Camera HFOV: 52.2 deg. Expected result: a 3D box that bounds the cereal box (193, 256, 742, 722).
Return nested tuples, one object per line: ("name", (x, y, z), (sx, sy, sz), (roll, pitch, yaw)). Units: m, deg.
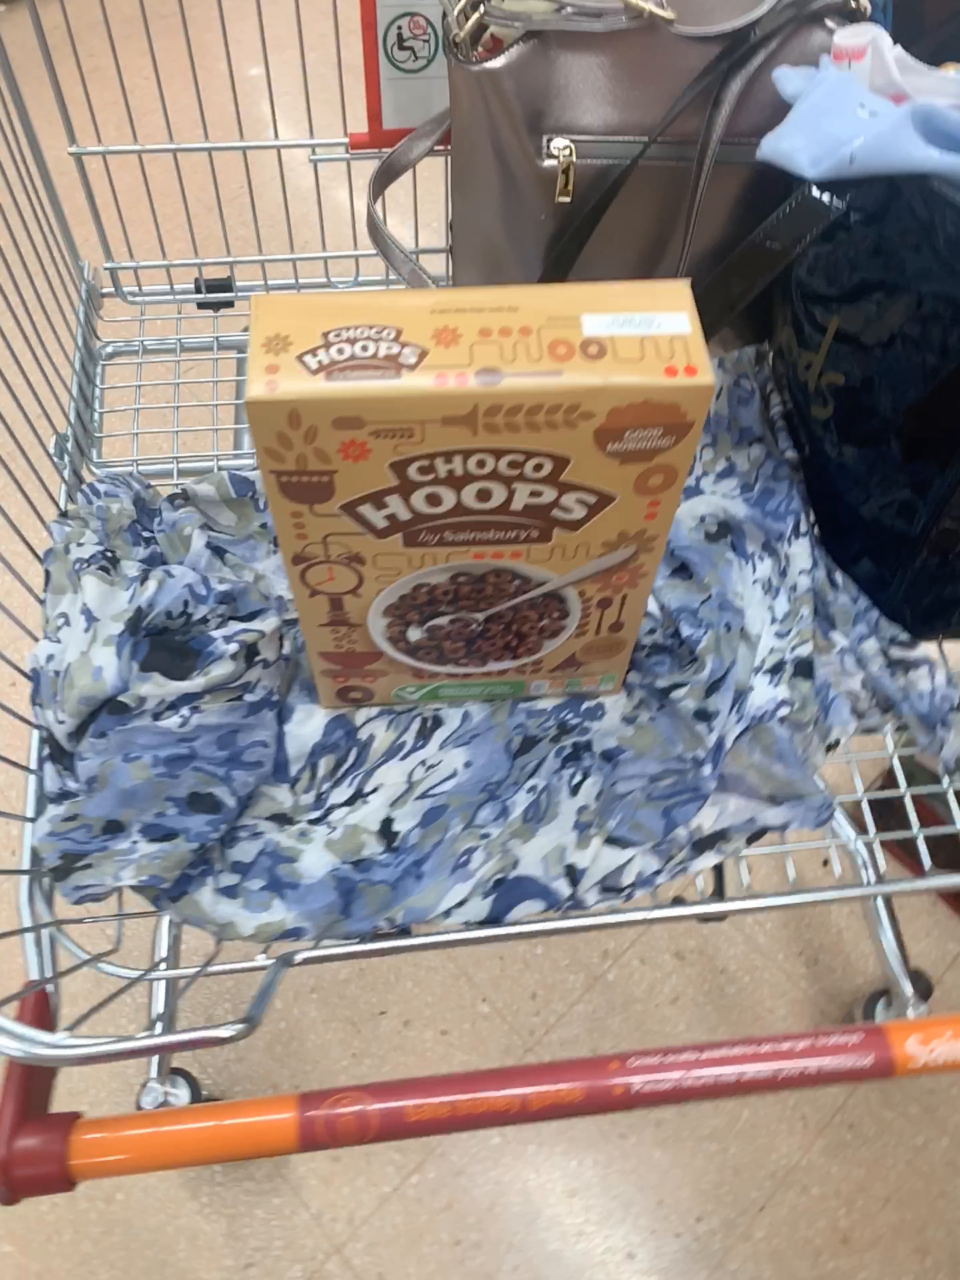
("cereal box", (-0.013, -0.059, 0.537), (0.220, 0.298, 0.070), (-3, 59, -5))
